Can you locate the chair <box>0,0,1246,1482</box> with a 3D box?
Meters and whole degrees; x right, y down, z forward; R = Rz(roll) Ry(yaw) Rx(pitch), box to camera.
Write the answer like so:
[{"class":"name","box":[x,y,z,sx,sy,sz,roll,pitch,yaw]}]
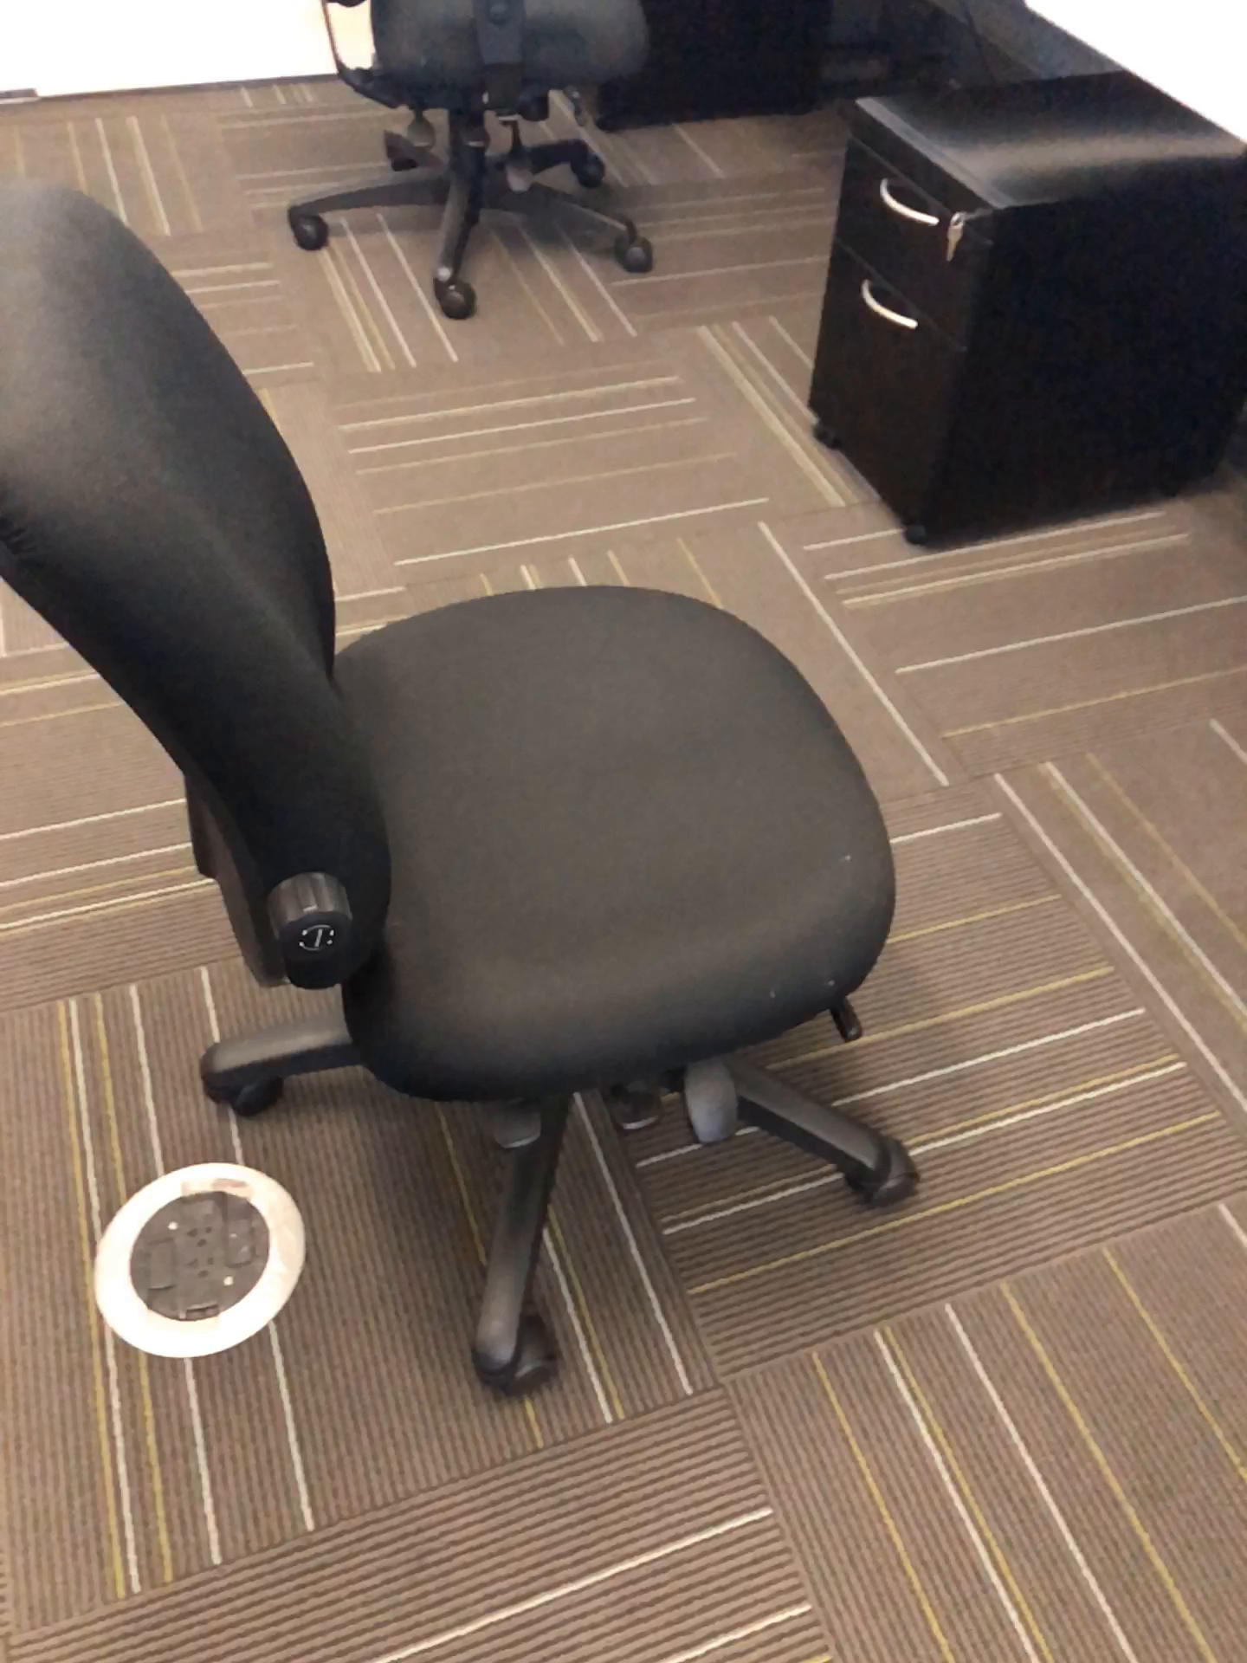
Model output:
[{"class":"chair","box":[-0.076,-0.121,1.140,0.760,0.846,0.773,-13,49,-15]}]
